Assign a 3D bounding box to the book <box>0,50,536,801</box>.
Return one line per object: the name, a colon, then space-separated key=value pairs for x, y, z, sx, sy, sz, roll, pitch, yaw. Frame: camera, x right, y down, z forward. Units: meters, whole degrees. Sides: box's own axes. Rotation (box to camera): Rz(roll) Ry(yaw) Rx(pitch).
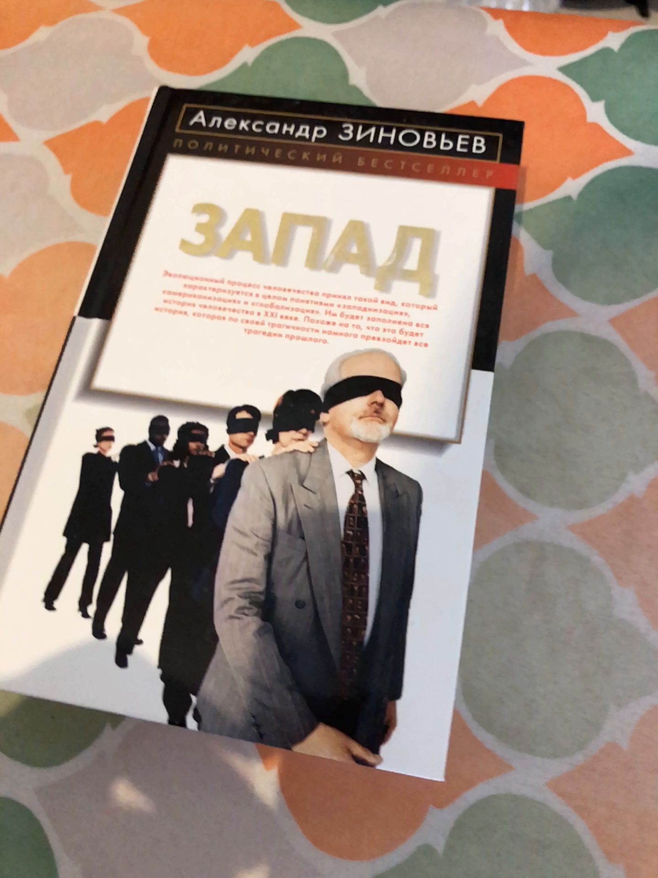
book: x=-0.019 y=-0.022 z=0.235 sx=0.140 sy=0.040 sz=0.221 roll=9 pitch=68 yaw=8
